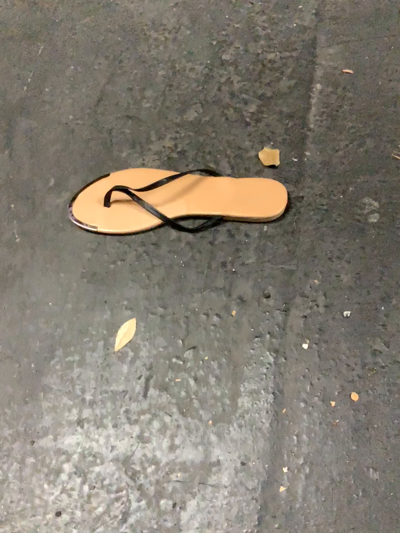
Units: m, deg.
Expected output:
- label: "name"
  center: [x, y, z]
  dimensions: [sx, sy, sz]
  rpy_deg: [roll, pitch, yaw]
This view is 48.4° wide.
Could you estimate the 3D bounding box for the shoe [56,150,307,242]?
- label: "shoe"
  center: [-0.022, -0.088, 0.553]
  dimensions: [0.290, 0.030, 0.110]
  rpy_deg: [-1, 58, 4]
